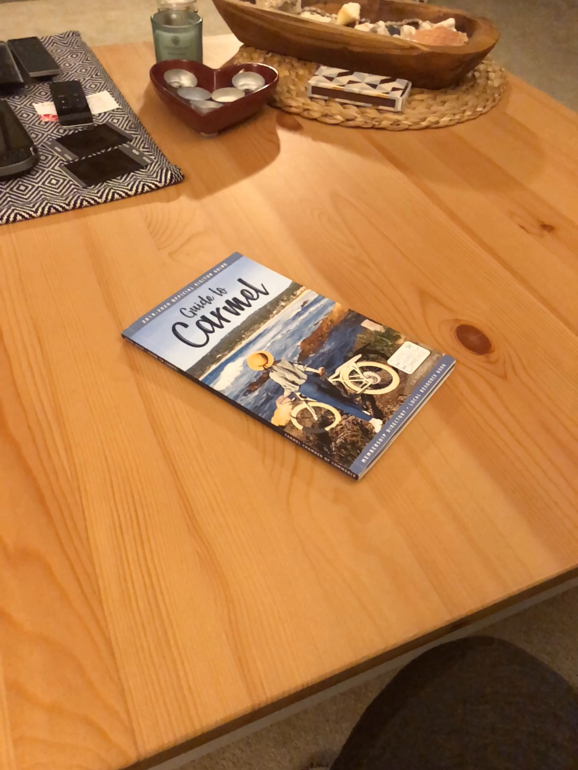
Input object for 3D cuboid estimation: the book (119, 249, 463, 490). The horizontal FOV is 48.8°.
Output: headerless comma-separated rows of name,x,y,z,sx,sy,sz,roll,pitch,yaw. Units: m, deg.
book,0.001,-0.026,0.462,0.207,0.010,0.138,30,51,23
